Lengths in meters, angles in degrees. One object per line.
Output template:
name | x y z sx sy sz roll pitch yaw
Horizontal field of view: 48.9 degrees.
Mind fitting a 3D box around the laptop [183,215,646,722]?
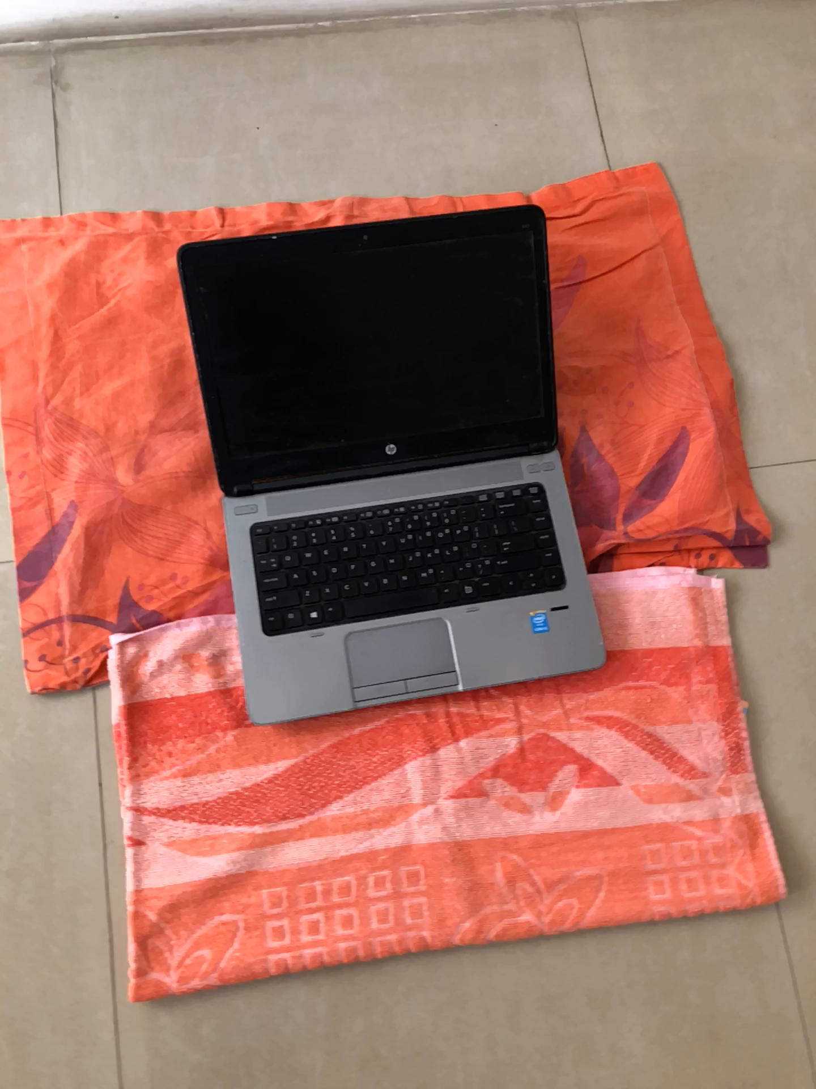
laptop | -0.006 -0.074 0.818 0.328 0.111 0.410 -9 75 -7
